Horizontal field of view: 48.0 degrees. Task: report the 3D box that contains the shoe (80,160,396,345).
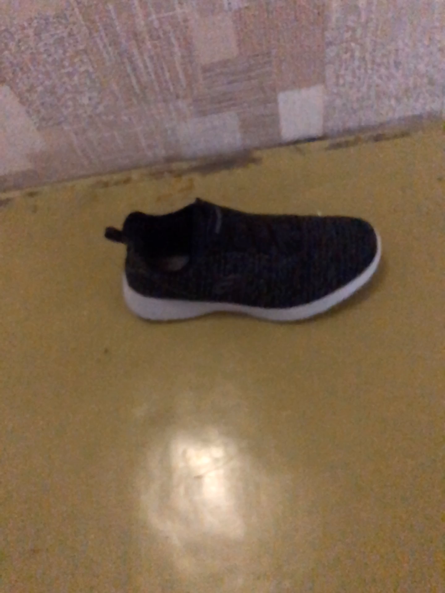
[{"bbox_3d":[0.017,-0.043,0.586,0.320,0.130,0.120,-8,60,7],"label":"shoe"}]
